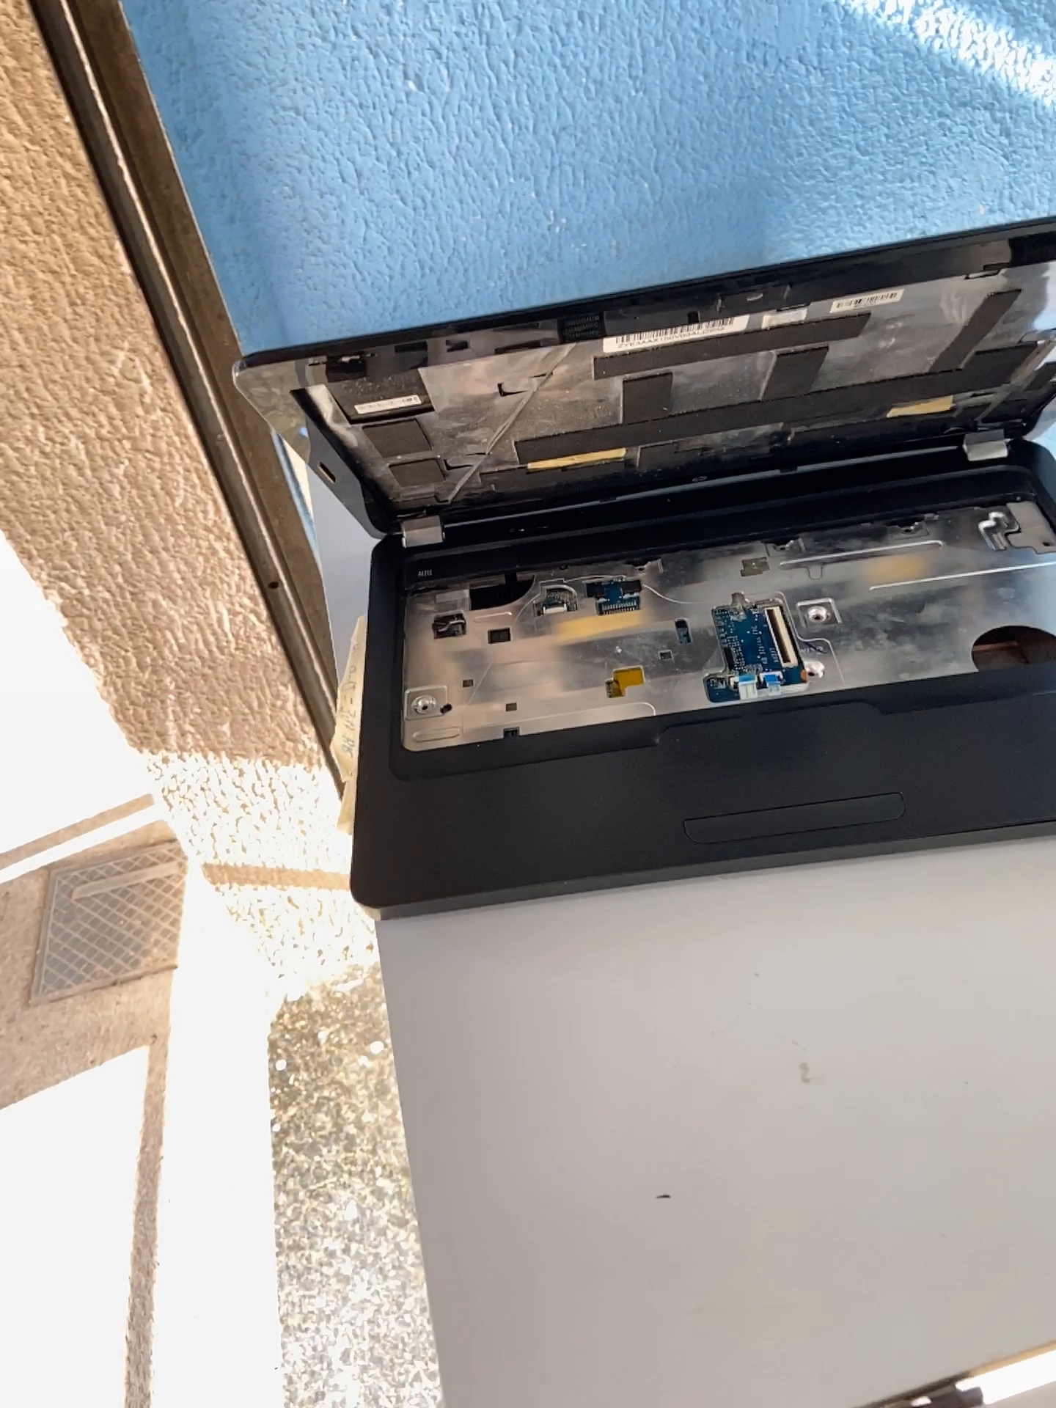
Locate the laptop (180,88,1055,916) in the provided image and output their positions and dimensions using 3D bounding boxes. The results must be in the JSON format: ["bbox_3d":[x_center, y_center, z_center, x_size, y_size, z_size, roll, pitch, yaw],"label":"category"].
[{"bbox_3d":[0.076,-0.082,0.403,0.326,0.153,0.223,-8,44,3],"label":"laptop"}]
